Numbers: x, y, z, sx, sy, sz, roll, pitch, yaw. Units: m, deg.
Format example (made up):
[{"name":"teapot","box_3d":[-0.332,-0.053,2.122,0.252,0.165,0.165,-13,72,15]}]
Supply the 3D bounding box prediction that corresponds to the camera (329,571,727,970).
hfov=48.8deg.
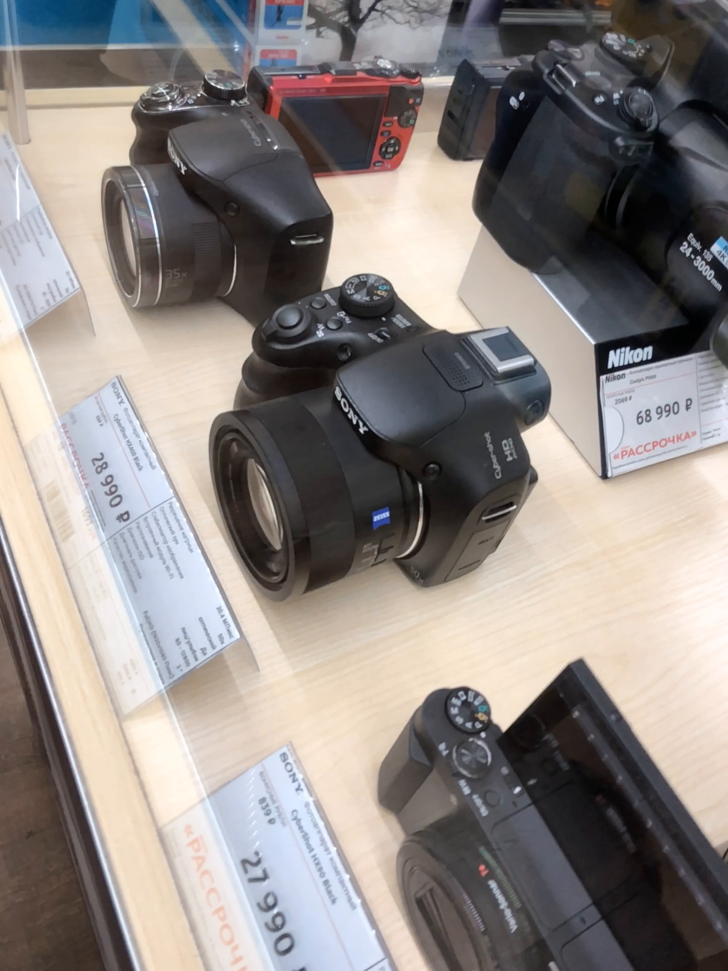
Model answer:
[{"name":"camera","box_3d":[0.053,0.113,0.224,0.056,0.113,0.125,-17,58,-26]}]

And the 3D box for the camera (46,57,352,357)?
[{"name":"camera","box_3d":[-0.083,-0.138,0.386,0.096,0.073,0.122,-17,58,-27]}]

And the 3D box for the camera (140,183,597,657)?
[{"name":"camera","box_3d":[-0.010,-0.032,0.302,0.104,0.086,0.137,-17,58,-27]}]
